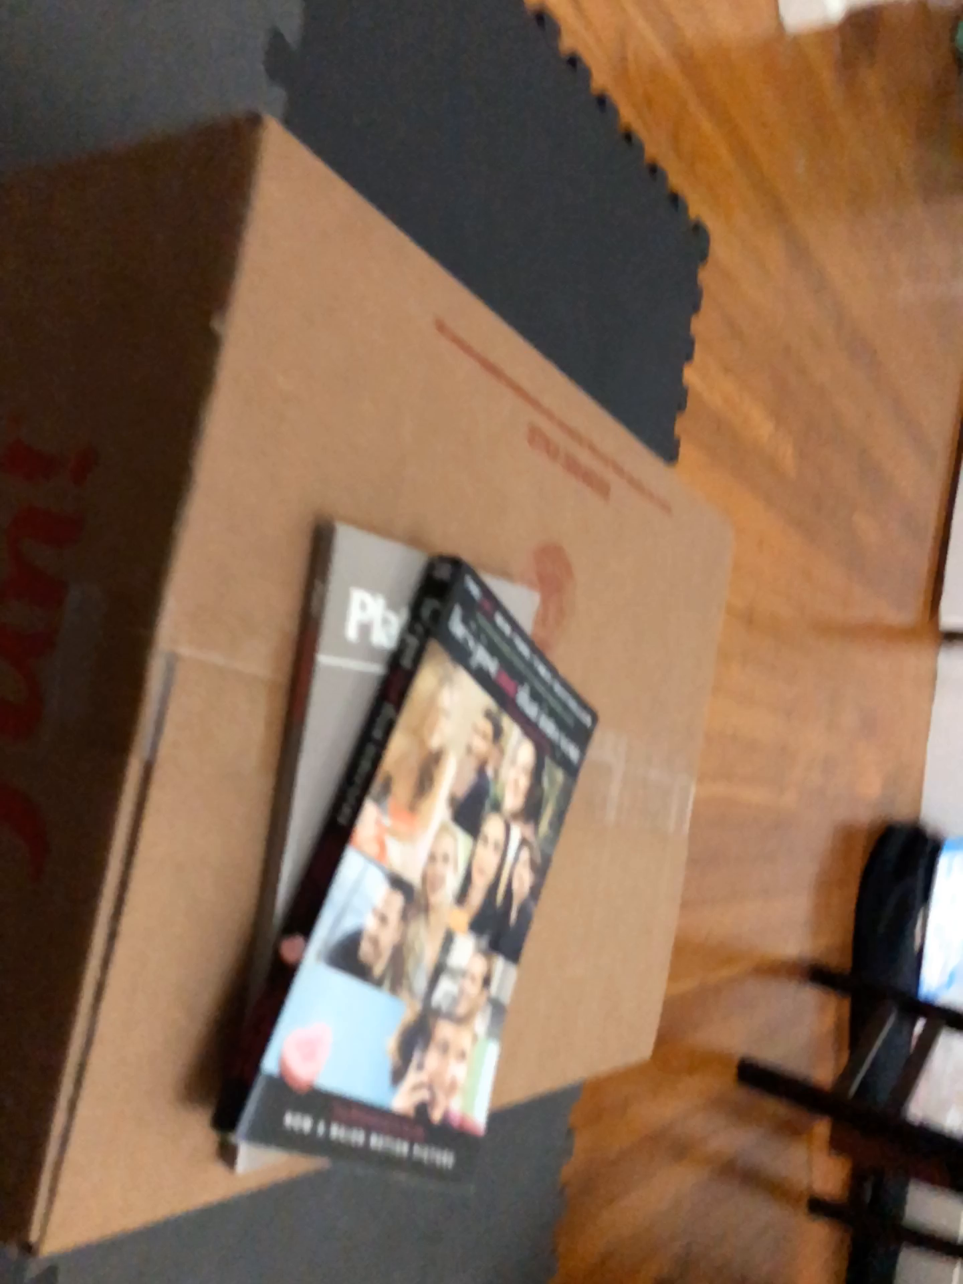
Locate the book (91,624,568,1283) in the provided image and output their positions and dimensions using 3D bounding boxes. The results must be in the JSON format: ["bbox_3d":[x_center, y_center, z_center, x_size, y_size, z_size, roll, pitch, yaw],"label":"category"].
[{"bbox_3d":[-0.036,0.130,0.396,0.151,0.010,0.230,47,57,-49],"label":"book"}]
